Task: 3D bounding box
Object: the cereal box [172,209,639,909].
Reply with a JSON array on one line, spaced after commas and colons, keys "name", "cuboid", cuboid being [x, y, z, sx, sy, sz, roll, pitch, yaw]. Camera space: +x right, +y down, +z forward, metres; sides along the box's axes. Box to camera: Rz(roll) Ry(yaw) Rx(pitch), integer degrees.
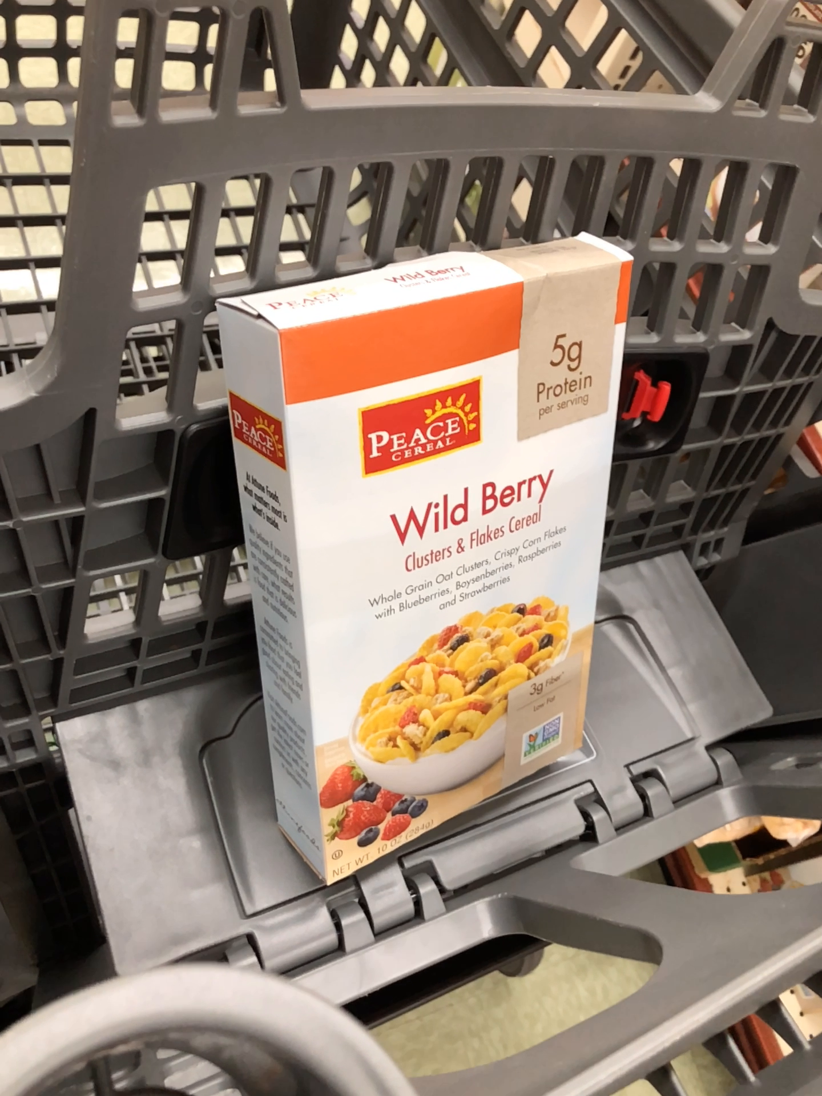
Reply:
[{"name": "cereal box", "cuboid": [0.007, 0.006, 0.388, 0.160, 0.260, 0.060, -20, 34, -29]}]
